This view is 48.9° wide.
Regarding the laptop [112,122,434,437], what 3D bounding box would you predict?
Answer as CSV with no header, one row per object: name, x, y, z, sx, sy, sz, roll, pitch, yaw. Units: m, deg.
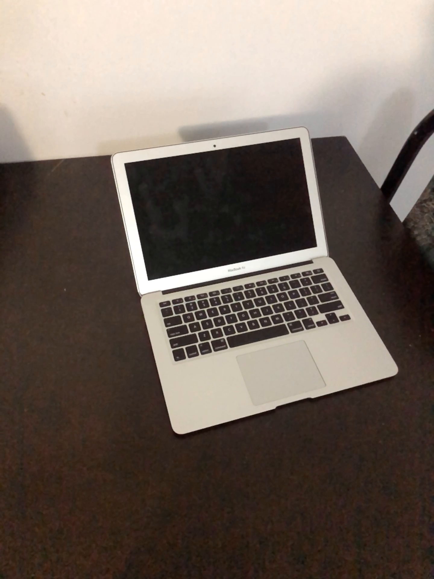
laptop,0.047,-0.042,0.640,0.303,0.136,0.362,-12,53,-12
